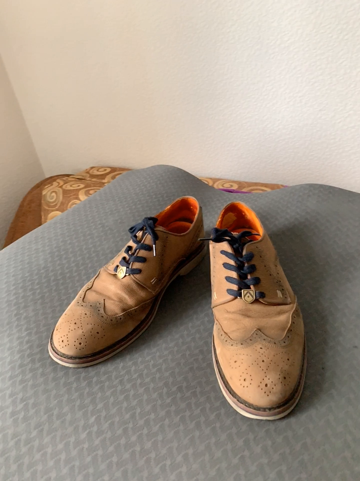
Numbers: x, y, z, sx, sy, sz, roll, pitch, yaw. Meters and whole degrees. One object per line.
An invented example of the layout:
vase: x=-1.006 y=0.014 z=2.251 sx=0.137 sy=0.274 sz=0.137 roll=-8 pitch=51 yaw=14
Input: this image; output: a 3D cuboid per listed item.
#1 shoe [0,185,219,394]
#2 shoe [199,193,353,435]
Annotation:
shoe: x=-0.071 y=0.040 z=0.511 sx=0.110 sy=0.090 sz=0.301 roll=17 pitch=43 yaw=31
shoe: x=0.088 y=0.060 z=0.443 sx=0.110 sy=0.090 sz=0.292 roll=-6 pitch=36 yaw=4
